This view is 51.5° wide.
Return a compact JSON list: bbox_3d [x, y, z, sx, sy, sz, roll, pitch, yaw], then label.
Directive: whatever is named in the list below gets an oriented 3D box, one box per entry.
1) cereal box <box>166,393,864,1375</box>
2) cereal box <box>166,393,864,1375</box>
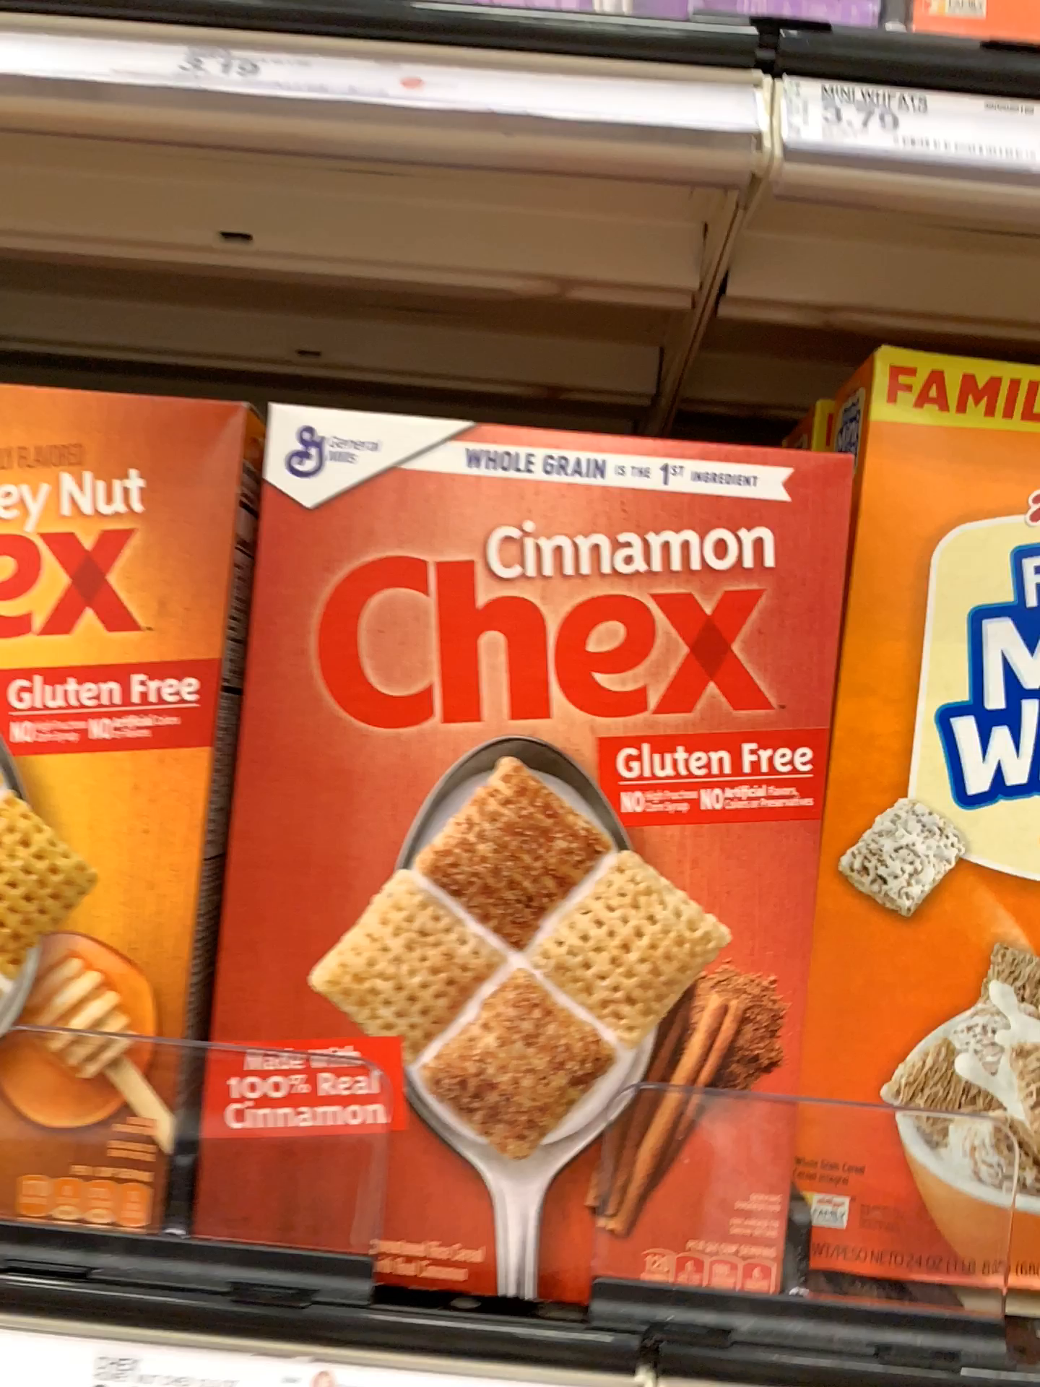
[{"bbox_3d":[-0.001,0.060,0.381,0.200,0.300,0.060,5,-1,1],"label":"cereal box"},{"bbox_3d":[-0.001,0.060,0.381,0.200,0.300,0.060,5,-1,1],"label":"cereal box"}]
